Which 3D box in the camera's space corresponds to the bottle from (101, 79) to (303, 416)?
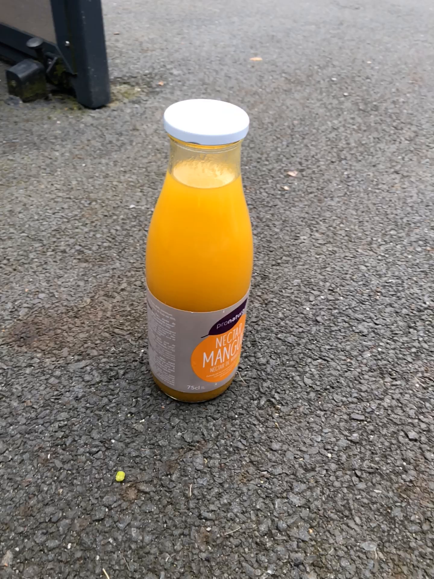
[{"bbox_3d":[-0.014,-0.021,0.336,0.080,0.209,0.080,2,41,-2],"label":"bottle"}]
